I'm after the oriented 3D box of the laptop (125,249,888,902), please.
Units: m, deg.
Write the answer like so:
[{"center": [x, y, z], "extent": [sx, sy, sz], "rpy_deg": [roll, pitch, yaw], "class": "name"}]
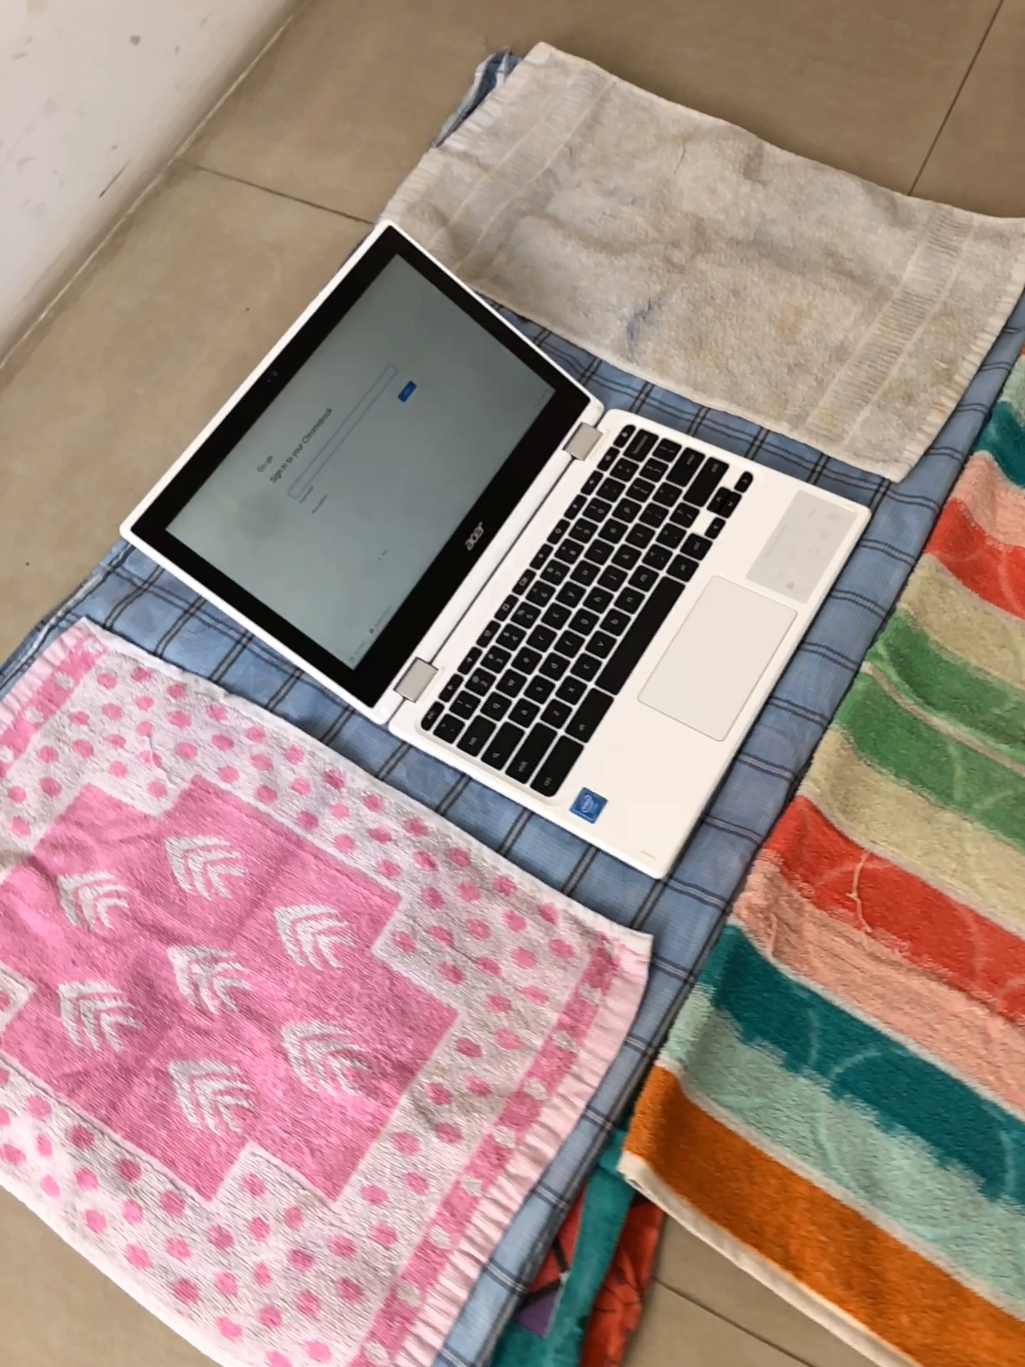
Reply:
[{"center": [-0.005, -0.087, 0.717], "extent": [0.367, 0.101, 0.286], "rpy_deg": [27, 70, 20], "class": "laptop"}]
